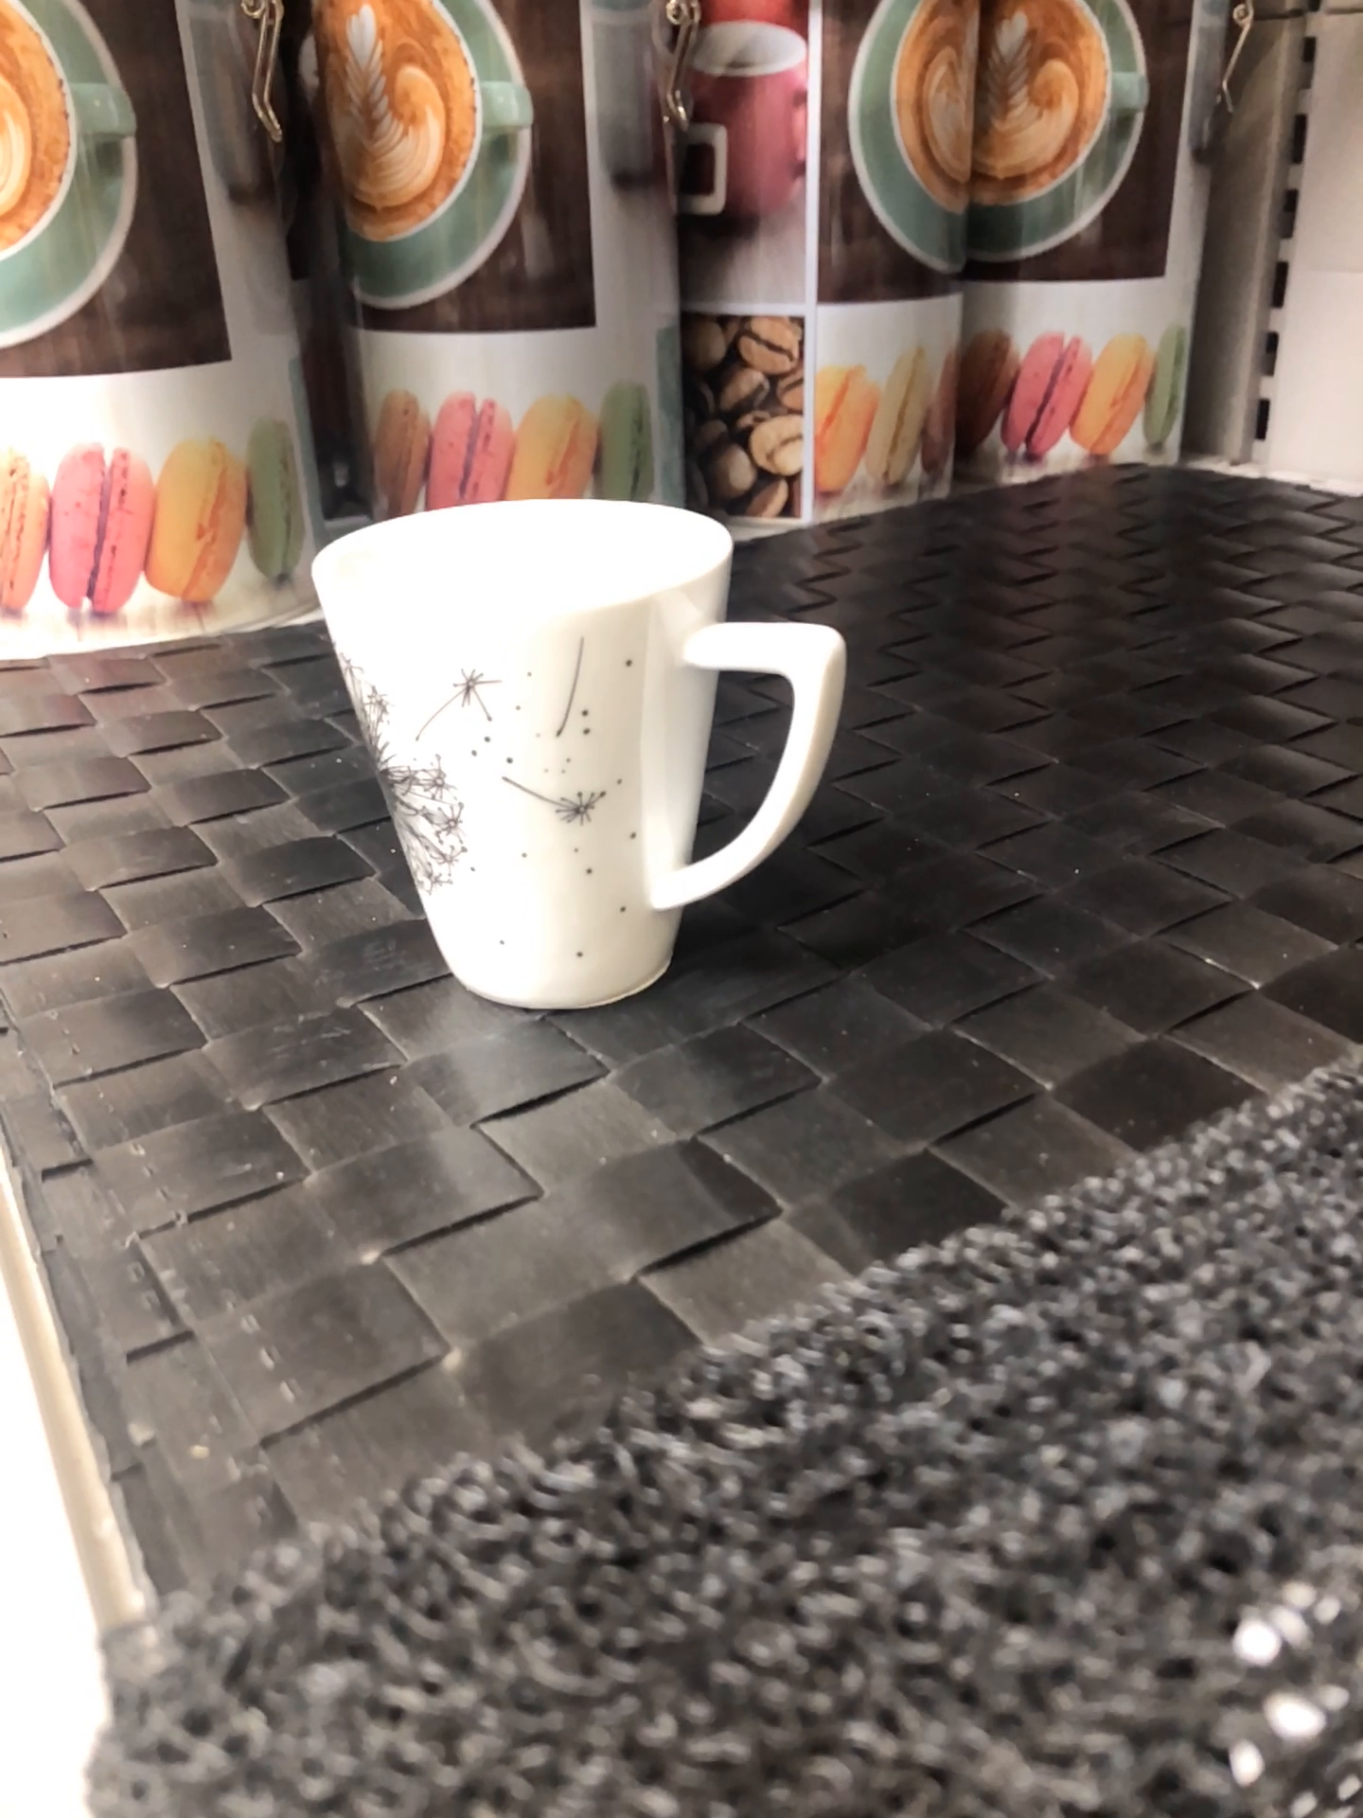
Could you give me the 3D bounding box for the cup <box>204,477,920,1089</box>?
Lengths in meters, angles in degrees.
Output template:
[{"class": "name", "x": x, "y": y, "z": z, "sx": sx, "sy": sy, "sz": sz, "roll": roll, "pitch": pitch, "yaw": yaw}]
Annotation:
[{"class": "cup", "x": -0.014, "y": -0.023, "z": 0.224, "sx": 0.081, "sy": 0.060, "sz": 0.057, "roll": 13, "pitch": 36, "yaw": 28}]
